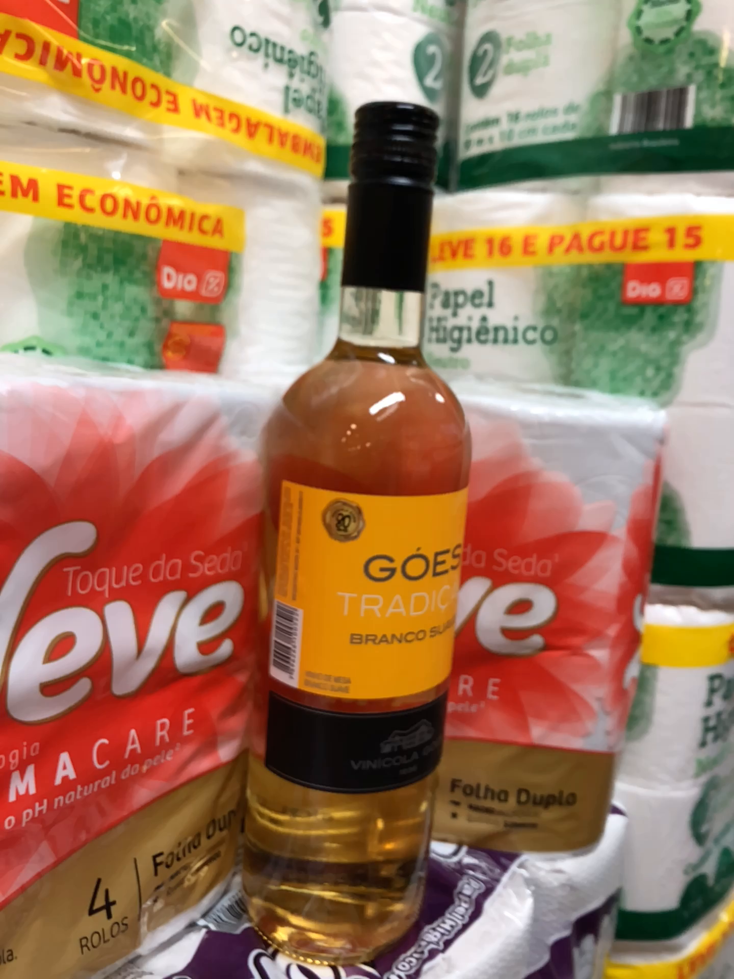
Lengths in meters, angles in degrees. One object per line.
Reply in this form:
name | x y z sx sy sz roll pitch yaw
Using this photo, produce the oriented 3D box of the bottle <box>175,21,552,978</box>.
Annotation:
bottle | -0.013 0.022 0.306 0.090 0.319 0.090 3 12 -1
